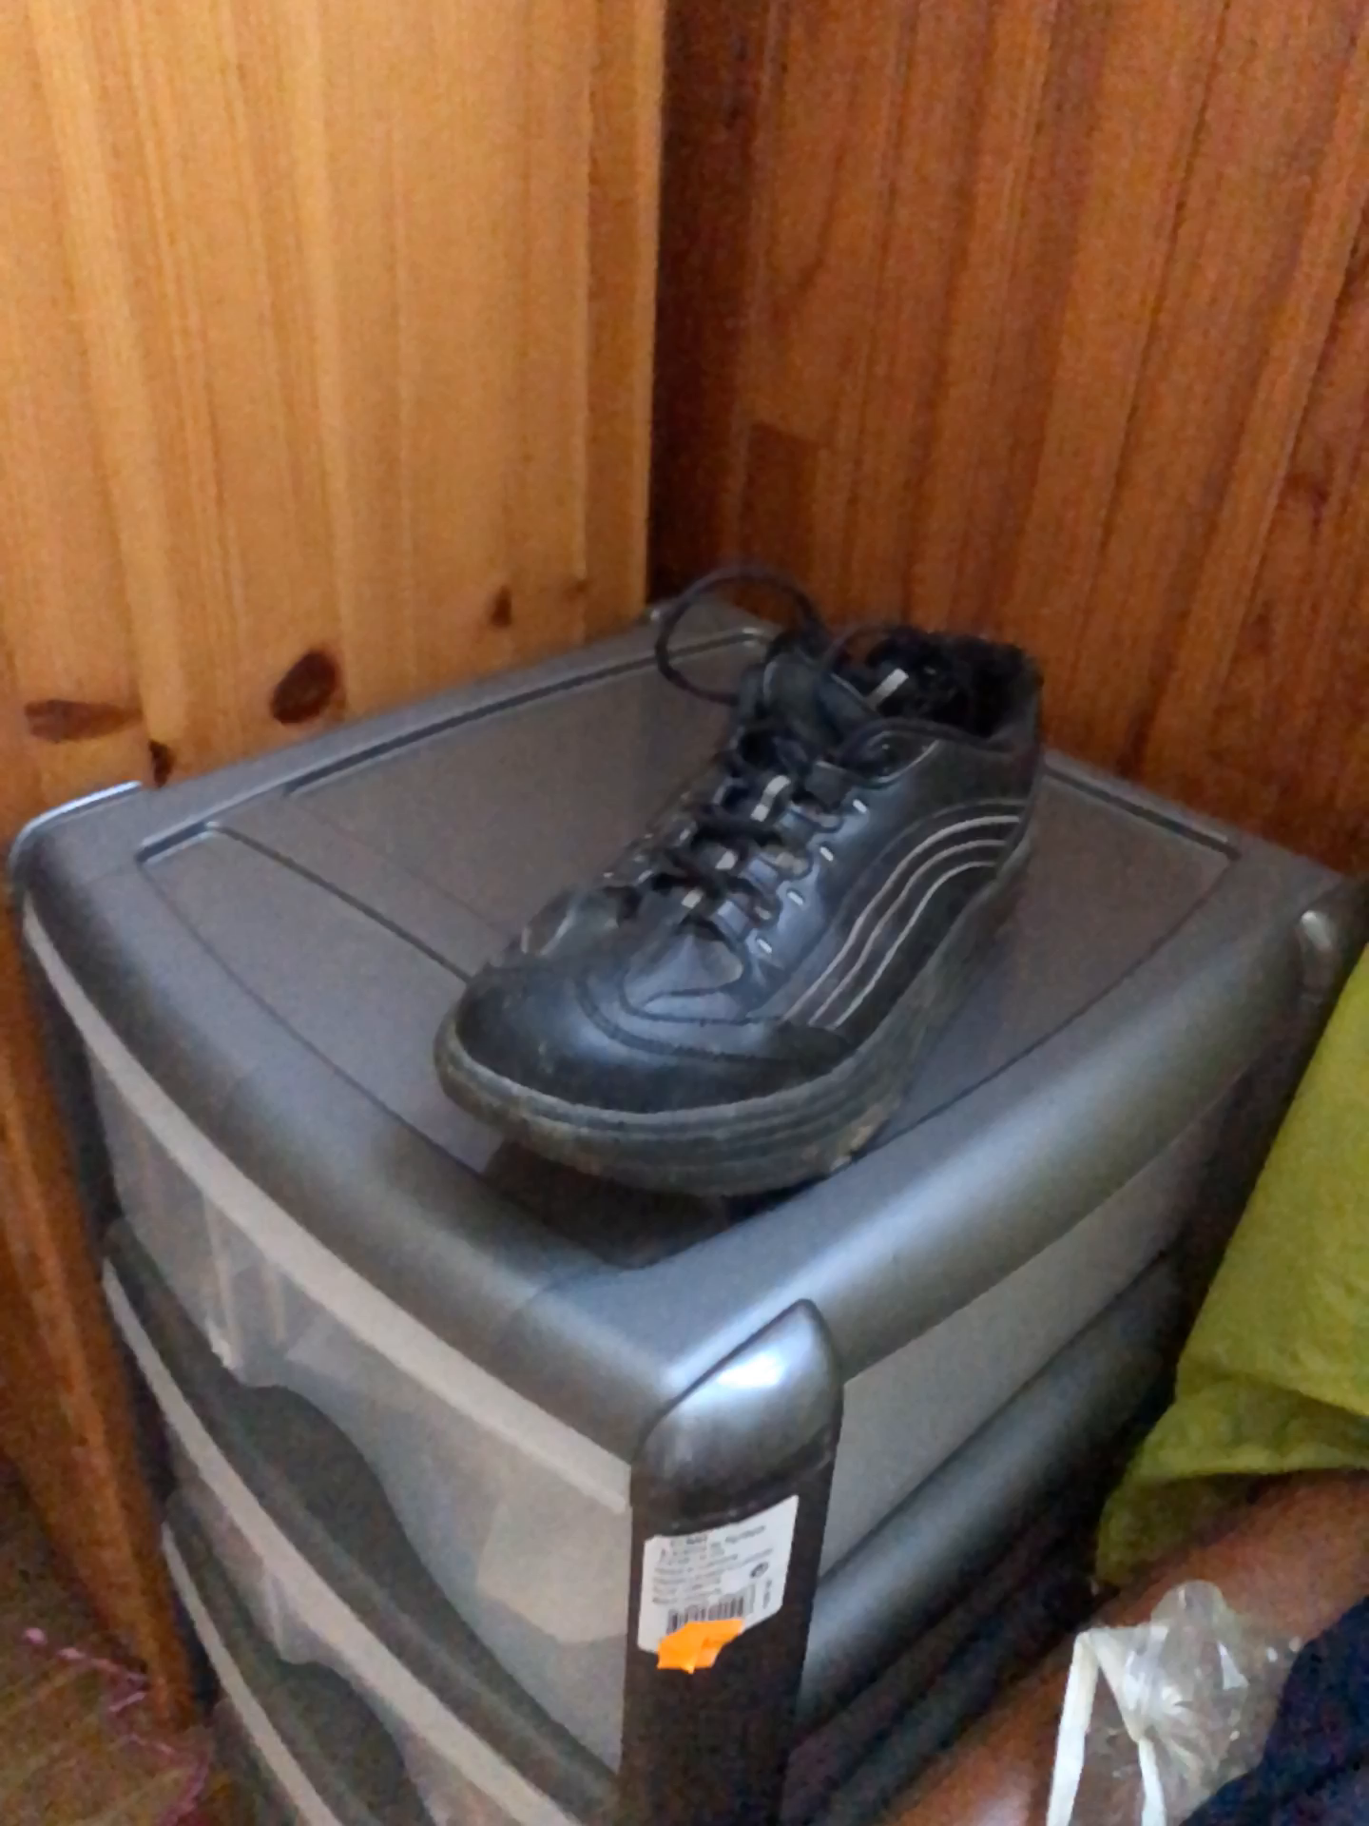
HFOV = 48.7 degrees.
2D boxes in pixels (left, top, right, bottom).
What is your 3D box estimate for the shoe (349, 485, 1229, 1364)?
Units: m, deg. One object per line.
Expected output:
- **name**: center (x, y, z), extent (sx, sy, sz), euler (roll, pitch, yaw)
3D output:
- **shoe**: center (0.044, -0.021, 0.451), extent (0.110, 0.129, 0.272), euler (25, 39, 28)
